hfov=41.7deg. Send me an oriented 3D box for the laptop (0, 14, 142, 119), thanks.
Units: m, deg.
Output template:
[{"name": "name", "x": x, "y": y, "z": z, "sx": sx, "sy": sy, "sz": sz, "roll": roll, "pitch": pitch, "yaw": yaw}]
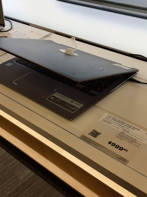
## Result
[{"name": "laptop", "x": -0.050, "y": -0.102, "z": 0.497, "sx": 0.304, "sy": 0.099, "sz": 0.223, "roll": 30, "pitch": 56, "yaw": 27}]
